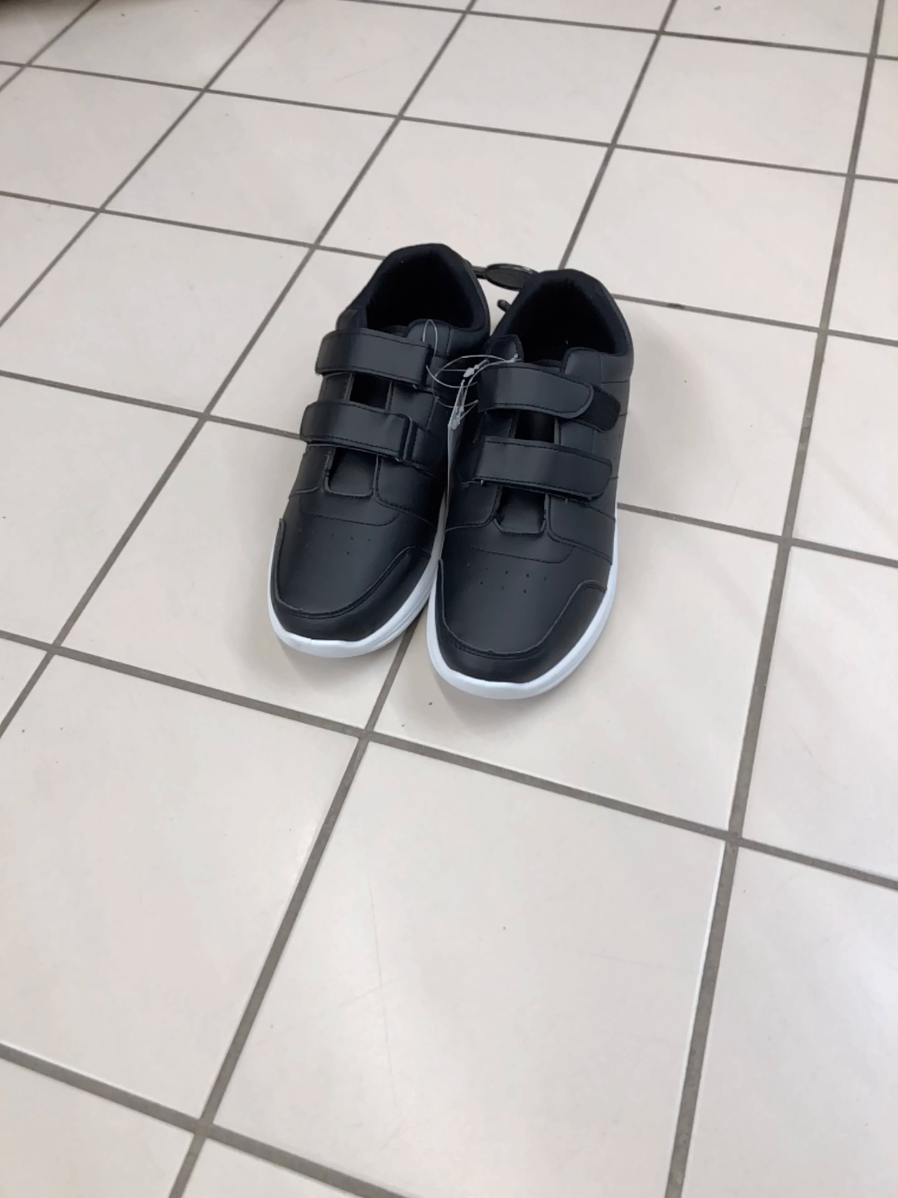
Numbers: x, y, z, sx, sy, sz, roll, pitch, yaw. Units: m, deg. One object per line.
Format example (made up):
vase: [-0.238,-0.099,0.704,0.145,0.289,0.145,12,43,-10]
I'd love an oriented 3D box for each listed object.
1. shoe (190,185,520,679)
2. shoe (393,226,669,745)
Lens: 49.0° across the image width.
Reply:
shoe: [-0.039,-0.117,0.607,0.100,0.100,0.312,10,56,11]
shoe: [0.059,-0.082,0.587,0.100,0.100,0.312,9,56,10]
